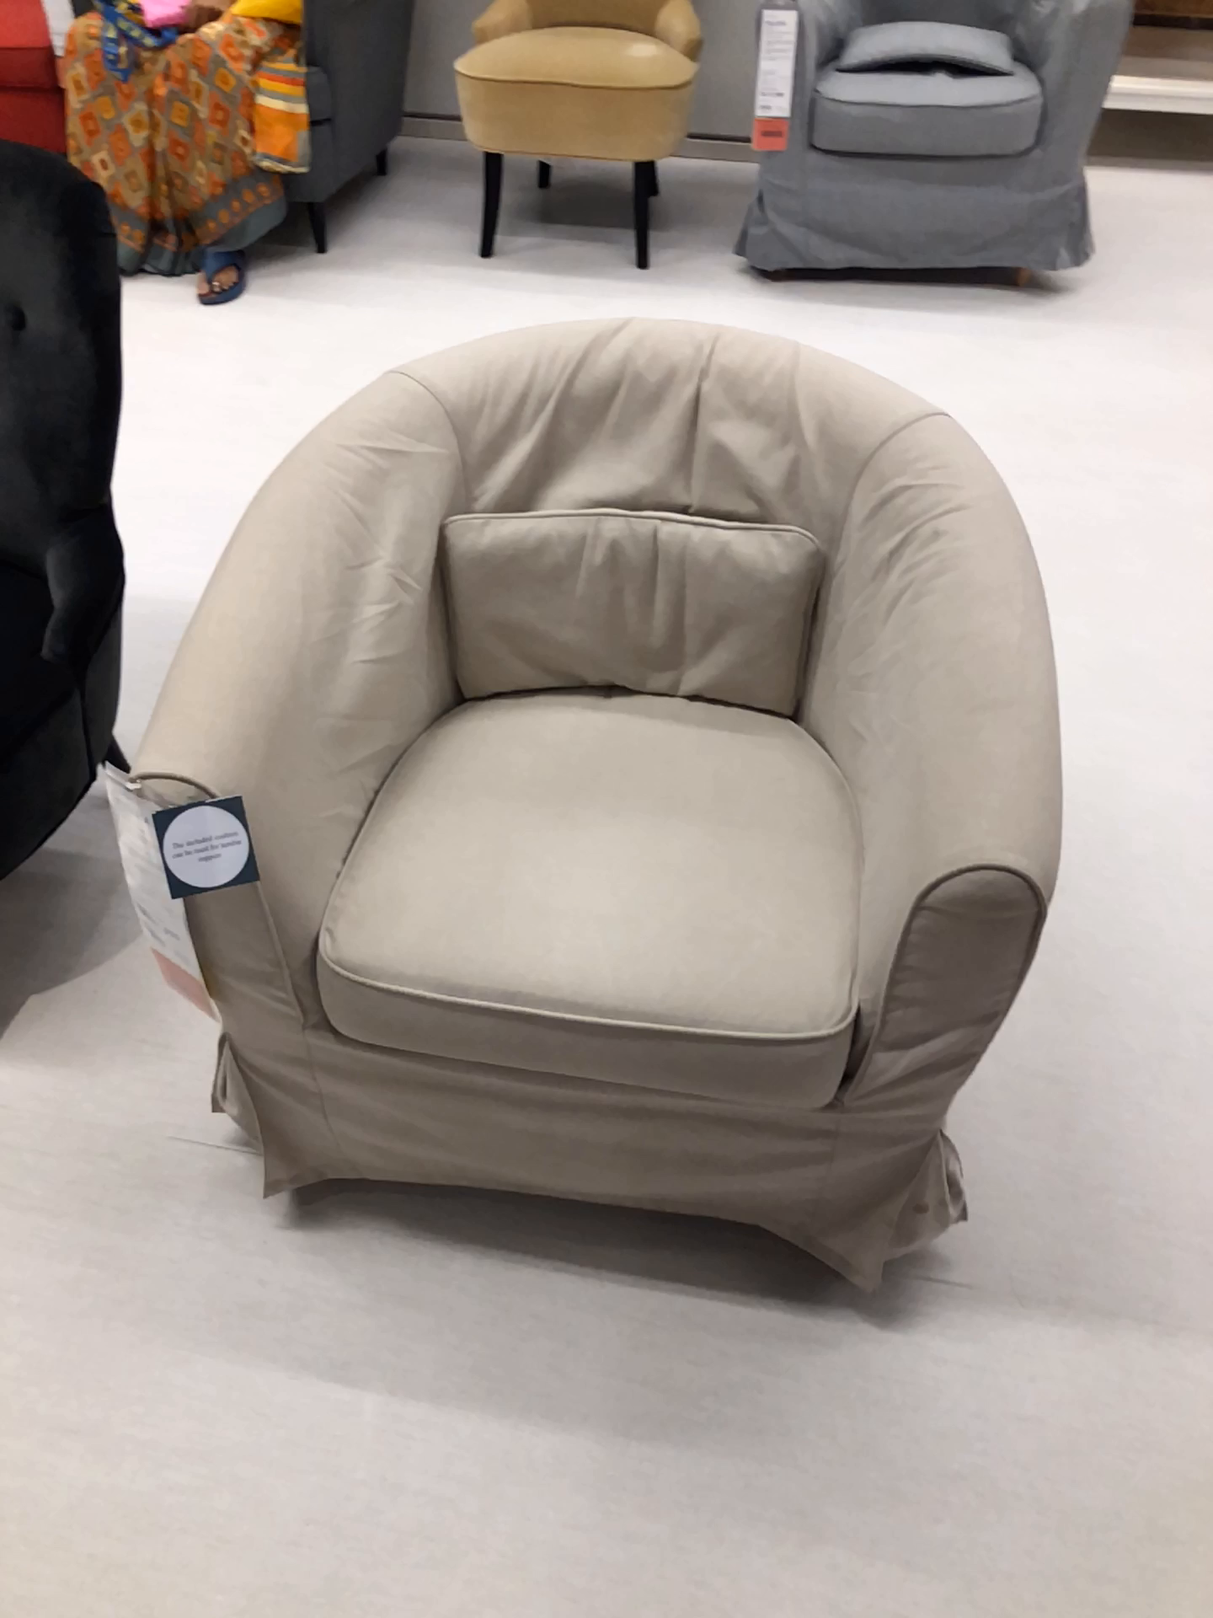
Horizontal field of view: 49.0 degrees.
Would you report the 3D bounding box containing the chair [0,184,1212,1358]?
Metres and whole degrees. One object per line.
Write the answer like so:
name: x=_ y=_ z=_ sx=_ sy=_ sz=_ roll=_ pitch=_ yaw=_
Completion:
chair: x=0.005 y=-0.042 z=1.301 sx=0.860 sy=0.805 sz=0.704 roll=6 pitch=45 yaw=6
